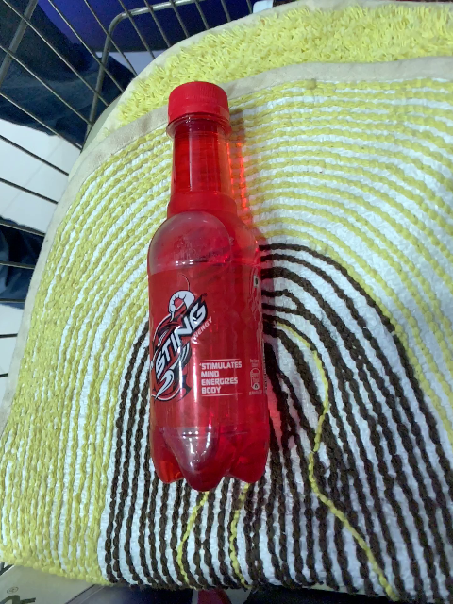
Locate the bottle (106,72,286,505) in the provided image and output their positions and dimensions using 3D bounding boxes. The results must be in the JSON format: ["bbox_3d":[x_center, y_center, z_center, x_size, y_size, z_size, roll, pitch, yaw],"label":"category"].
[{"bbox_3d":[-0.014,-0.005,0.210,0.060,0.040,0.170,-6,83,19],"label":"bottle"}]
